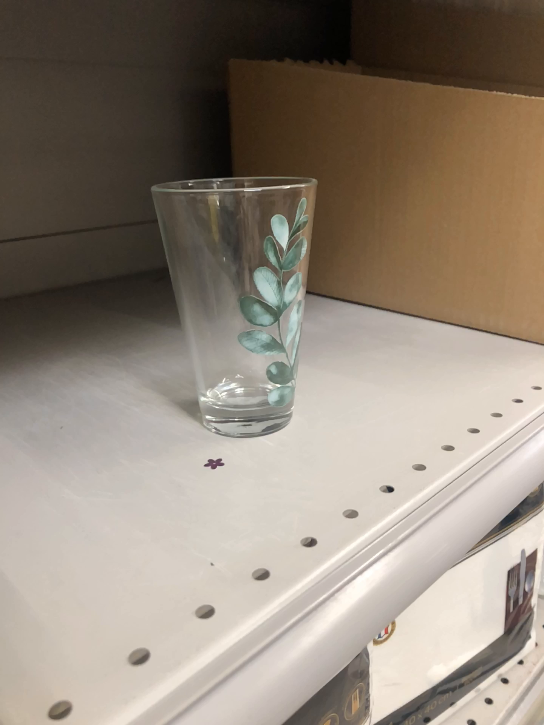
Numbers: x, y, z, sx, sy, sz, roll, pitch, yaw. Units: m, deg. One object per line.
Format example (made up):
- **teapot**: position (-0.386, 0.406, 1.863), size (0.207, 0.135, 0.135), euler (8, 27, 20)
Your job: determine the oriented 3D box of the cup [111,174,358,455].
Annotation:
- **cup**: position (-0.016, -0.033, 0.303), size (0.083, 0.114, 0.083), euler (-3, 19, 1)
